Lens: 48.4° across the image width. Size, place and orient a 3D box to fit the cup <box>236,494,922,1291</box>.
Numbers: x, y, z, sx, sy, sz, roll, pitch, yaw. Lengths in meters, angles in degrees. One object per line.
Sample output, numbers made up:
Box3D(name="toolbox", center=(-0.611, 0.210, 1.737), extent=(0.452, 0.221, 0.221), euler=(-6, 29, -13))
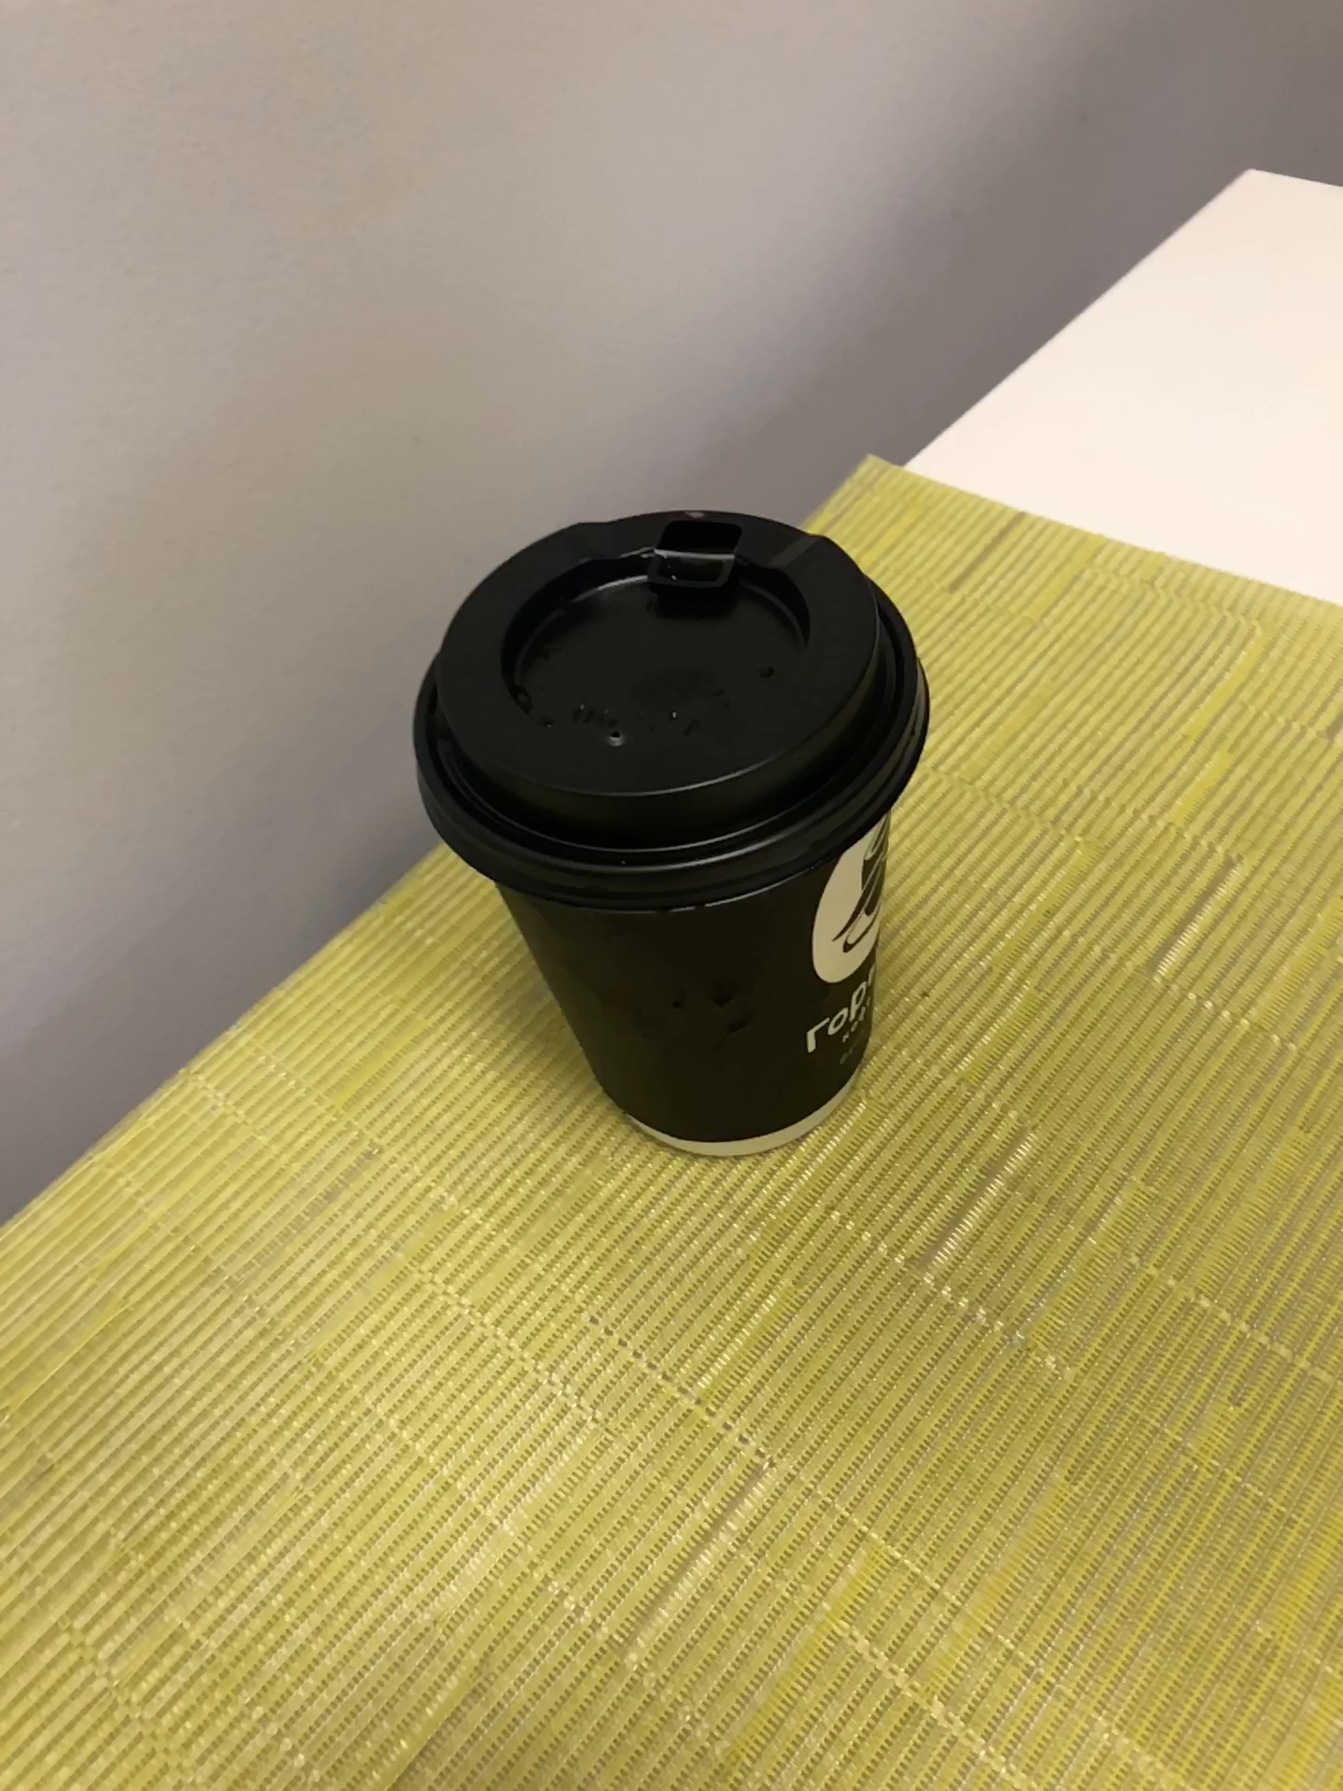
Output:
Box3D(name="cup", center=(-0.007, 0.000, 0.310), extent=(0.090, 0.120, 0.092), euler=(-5, 49, 6))
